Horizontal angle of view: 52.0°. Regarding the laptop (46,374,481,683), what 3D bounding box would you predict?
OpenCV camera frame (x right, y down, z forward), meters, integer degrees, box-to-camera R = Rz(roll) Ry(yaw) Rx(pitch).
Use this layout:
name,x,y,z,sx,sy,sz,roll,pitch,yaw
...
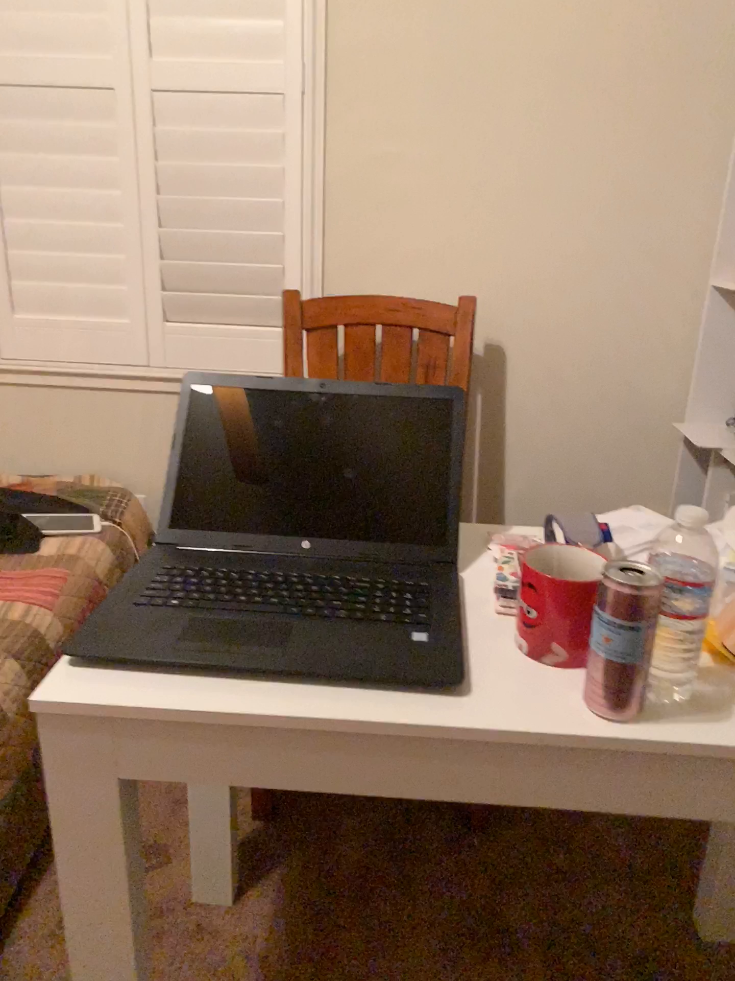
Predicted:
name,x,y,z,sx,sy,sz,roll,pitch,yaw
laptop,-0.083,0.009,0.907,0.400,0.197,0.418,3,20,5
